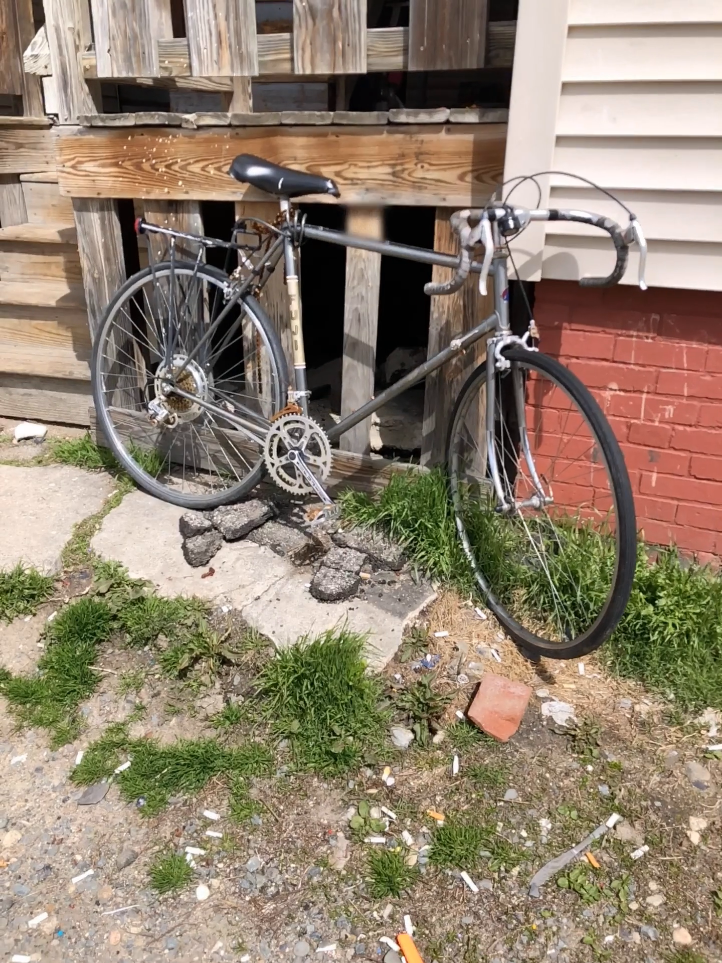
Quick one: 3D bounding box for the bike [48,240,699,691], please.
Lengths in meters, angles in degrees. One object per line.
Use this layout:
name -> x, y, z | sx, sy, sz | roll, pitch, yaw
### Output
bike -> -0.050, -0.145, 1.496 | 1.202, 0.479, 0.400 | 17, 27, 32
